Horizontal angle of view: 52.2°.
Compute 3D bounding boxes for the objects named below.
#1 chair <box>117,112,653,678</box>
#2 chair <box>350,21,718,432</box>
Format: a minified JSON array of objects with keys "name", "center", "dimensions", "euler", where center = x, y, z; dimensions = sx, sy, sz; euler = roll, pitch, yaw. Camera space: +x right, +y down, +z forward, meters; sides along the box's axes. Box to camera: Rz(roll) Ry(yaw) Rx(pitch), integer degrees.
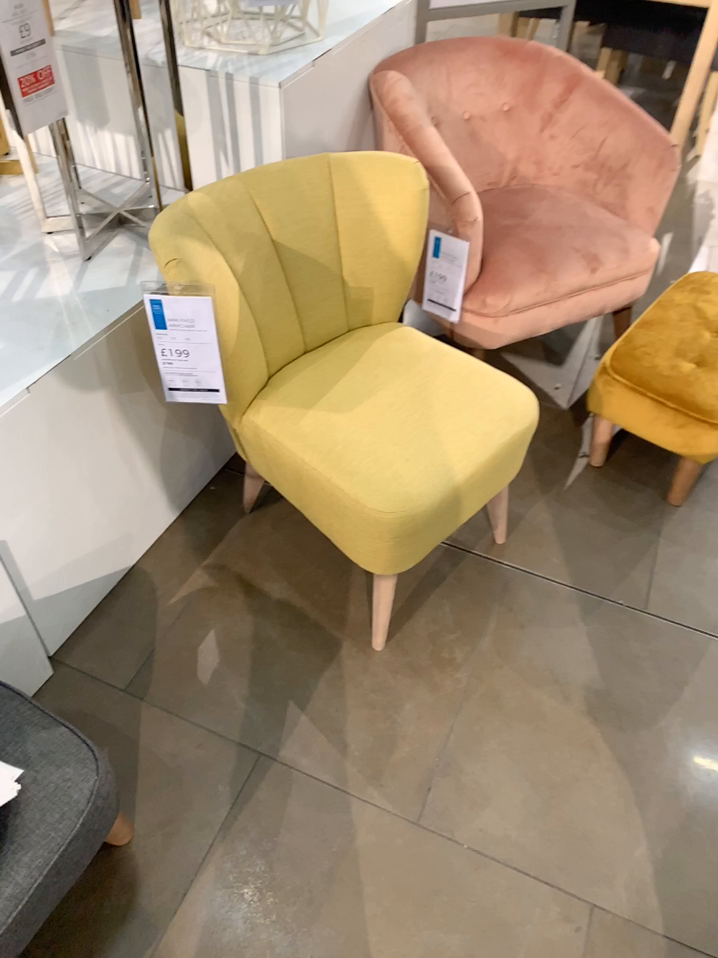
[{"name":"chair","center":[0.039,-0.183,1.395],"dimensions":[0.610,0.696,0.589],"euler":[-34,54,-30]},{"name":"chair","center":[0.394,-0.688,1.972],"dimensions":[0.618,0.765,0.590],"euler":[-23,49,-23]}]
